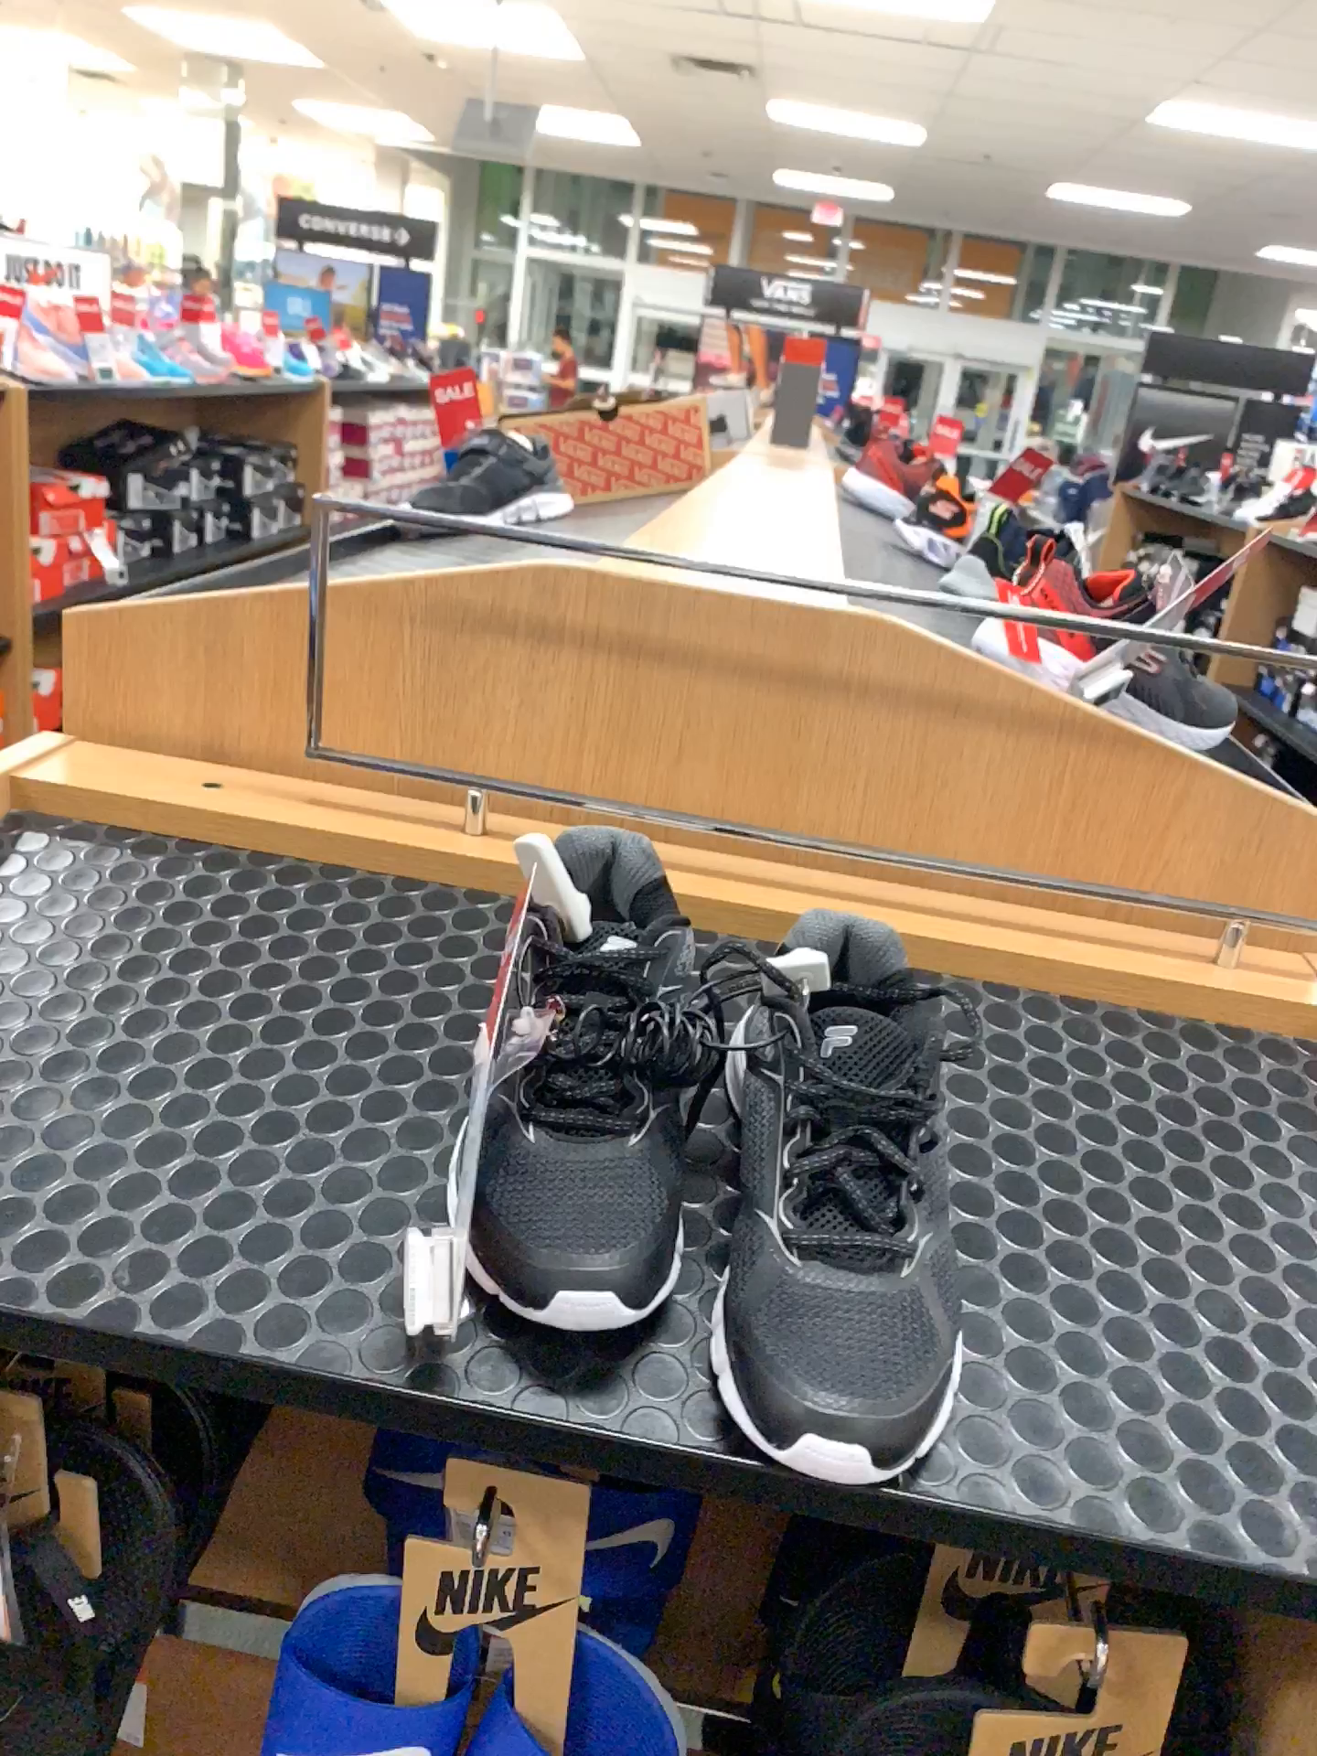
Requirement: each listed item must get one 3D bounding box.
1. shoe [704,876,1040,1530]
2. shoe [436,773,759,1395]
[{"bbox_3d":[0.069,0.111,0.531,0.100,0.089,0.246,-1,38,2],"label":"shoe"},{"bbox_3d":[-0.024,0.071,0.556,0.100,0.089,0.246,7,40,-6],"label":"shoe"}]
